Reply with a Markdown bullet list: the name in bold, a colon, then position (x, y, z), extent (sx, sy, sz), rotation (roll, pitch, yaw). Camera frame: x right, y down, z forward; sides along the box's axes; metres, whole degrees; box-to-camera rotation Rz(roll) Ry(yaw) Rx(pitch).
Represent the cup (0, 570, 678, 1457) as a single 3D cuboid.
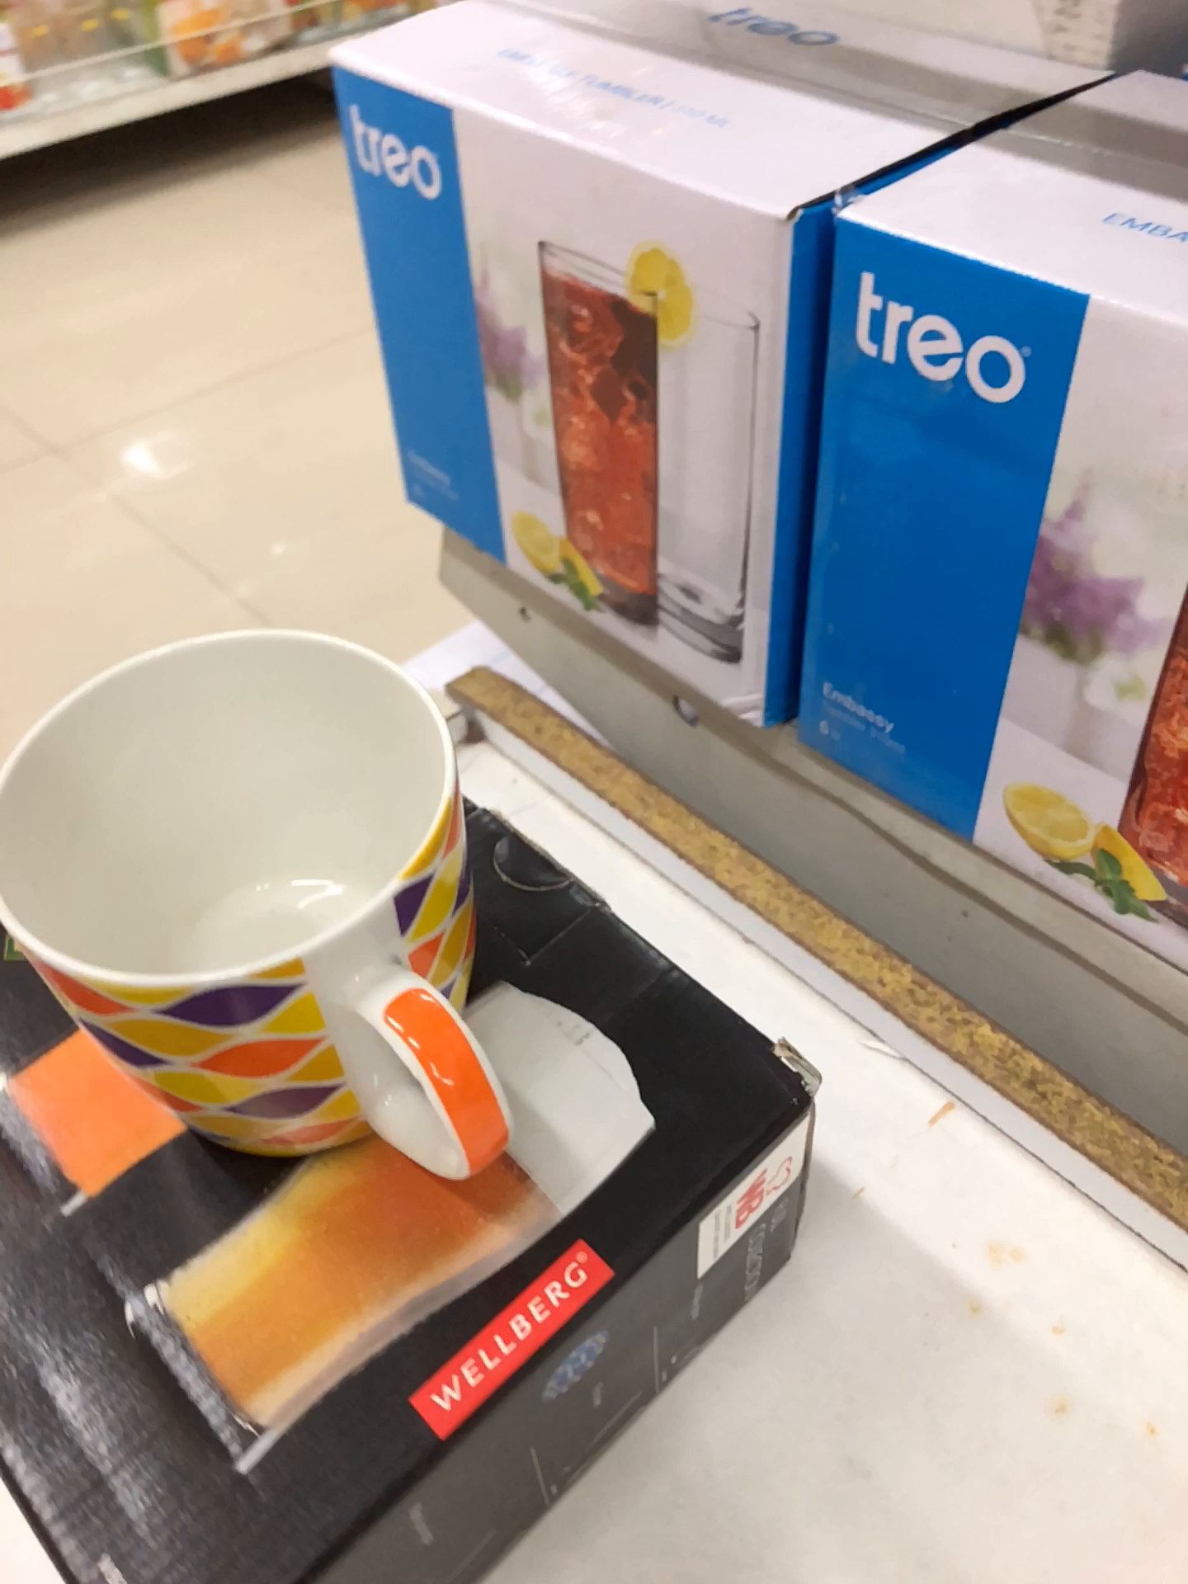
- **cup**: position (-0.062, 0.036, 0.270), extent (0.090, 0.089, 0.130), rotation (-35, 51, -29)
